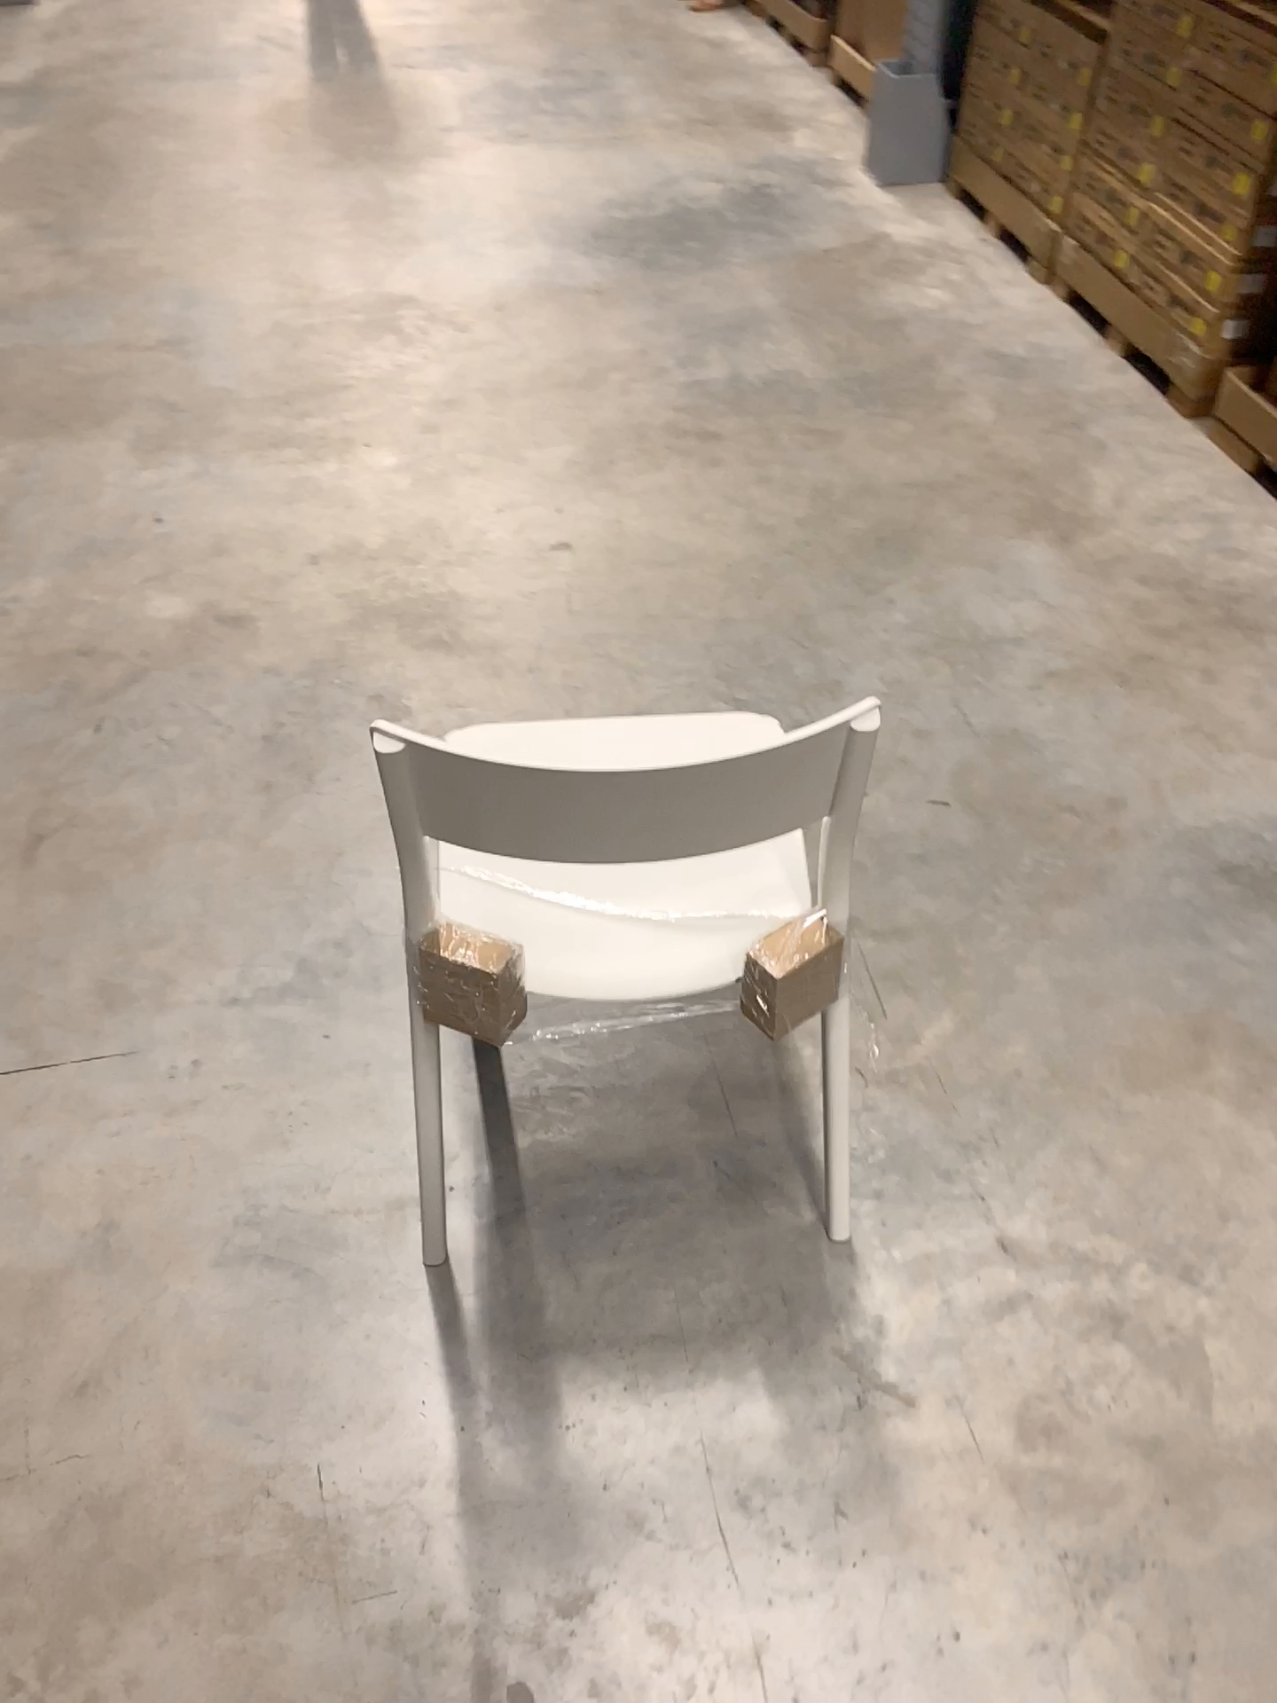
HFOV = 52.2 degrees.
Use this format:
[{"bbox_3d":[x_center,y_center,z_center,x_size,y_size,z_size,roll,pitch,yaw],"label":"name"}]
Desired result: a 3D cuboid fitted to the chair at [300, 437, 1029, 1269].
[{"bbox_3d":[-0.001,0.005,1.331,0.520,0.618,0.532,-4,45,-4],"label":"chair"}]
